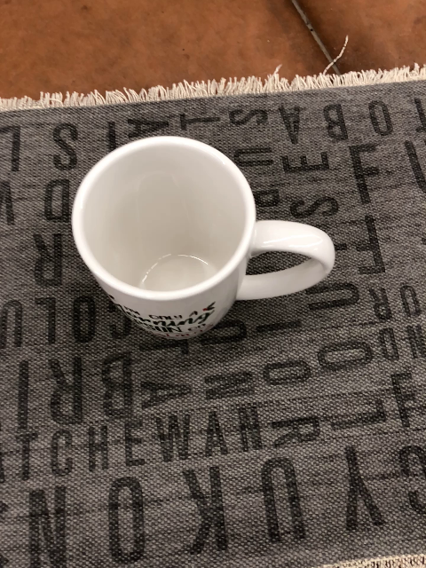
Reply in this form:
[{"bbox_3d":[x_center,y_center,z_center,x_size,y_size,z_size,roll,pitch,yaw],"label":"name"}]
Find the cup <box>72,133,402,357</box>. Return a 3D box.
[{"bbox_3d":[0.010,-0.014,0.264,0.140,0.100,0.090,0,70,0],"label":"cup"}]
